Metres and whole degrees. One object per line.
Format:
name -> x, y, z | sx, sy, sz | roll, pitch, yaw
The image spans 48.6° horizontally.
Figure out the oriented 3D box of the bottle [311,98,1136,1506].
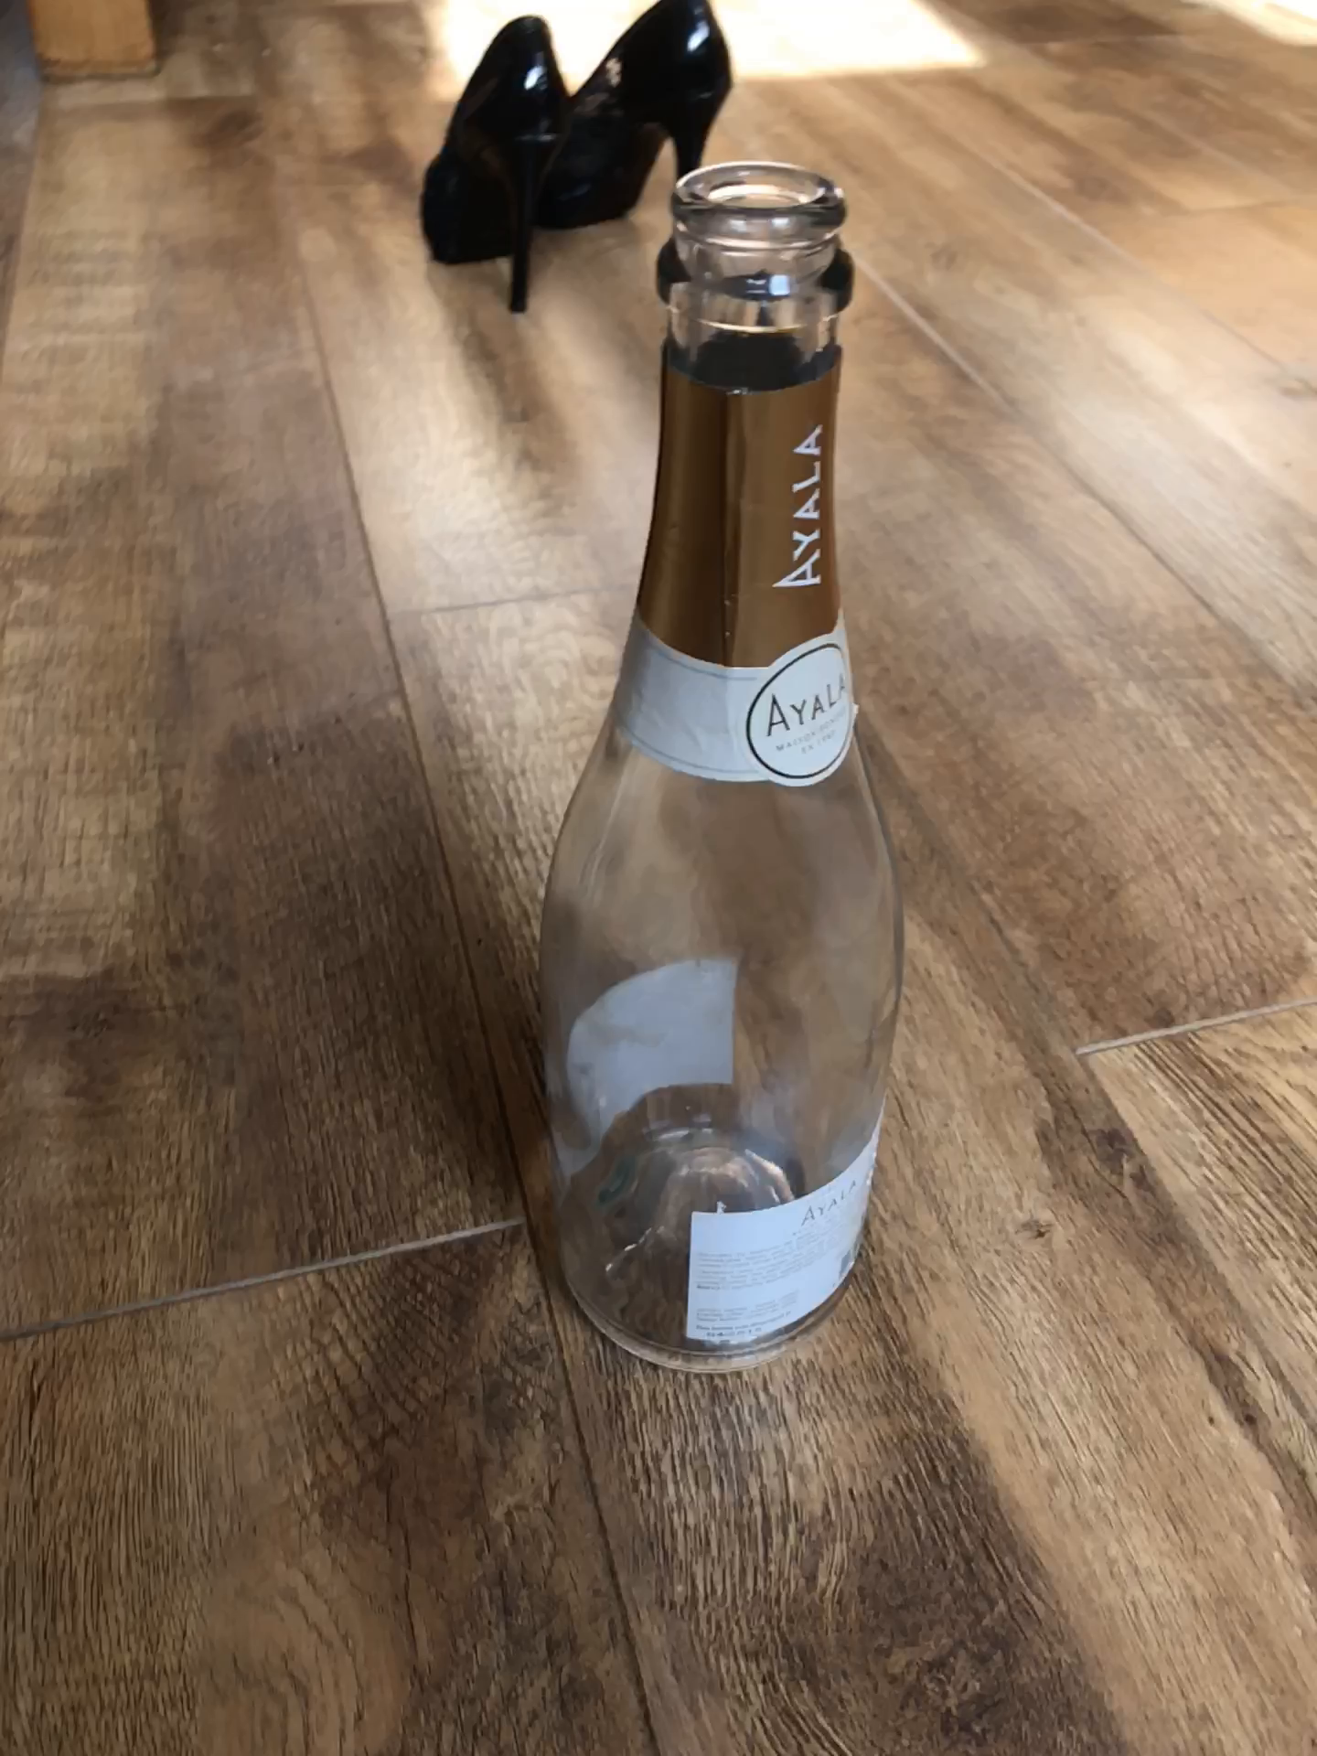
bottle -> 0.008, 0.008, 0.324 | 0.090, 0.298, 0.090 | 0, 42, 0
